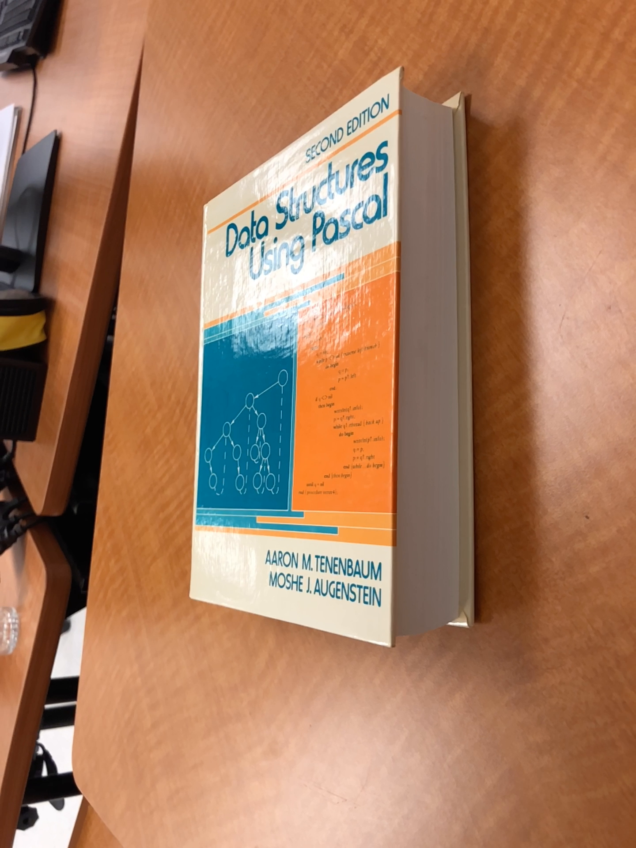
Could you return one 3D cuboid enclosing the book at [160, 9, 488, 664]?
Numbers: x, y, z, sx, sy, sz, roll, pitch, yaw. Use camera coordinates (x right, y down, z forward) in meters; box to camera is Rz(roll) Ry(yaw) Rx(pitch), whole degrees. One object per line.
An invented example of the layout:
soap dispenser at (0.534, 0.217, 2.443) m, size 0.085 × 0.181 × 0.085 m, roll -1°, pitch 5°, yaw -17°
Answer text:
book at (-0.009, -0.030, 0.366) m, size 0.201 × 0.050 × 0.260 m, roll -9°, pitch 77°, yaw 52°
